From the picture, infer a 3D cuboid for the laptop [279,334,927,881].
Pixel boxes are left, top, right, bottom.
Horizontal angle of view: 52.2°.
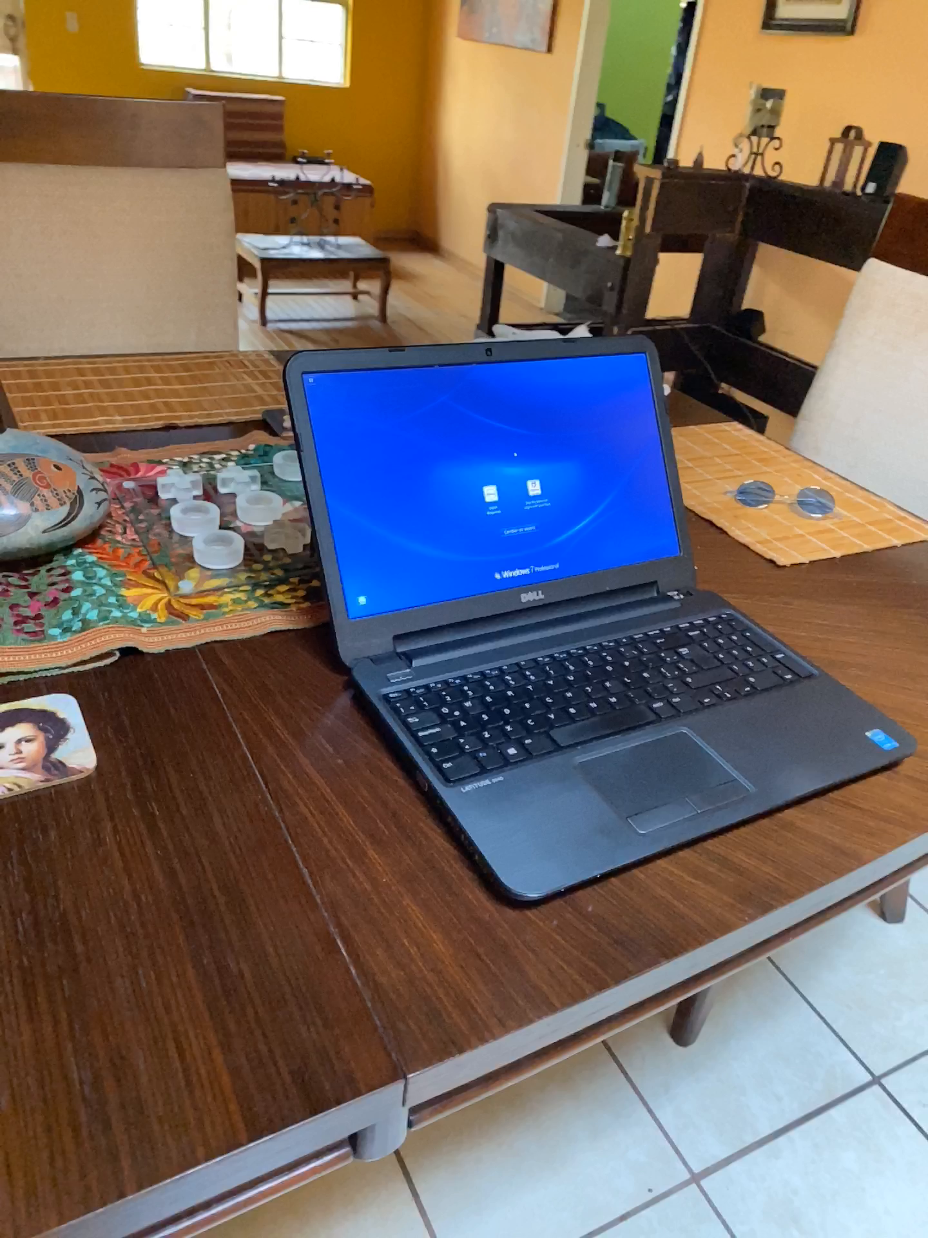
[{"bbox_3d":[0.102,-0.061,0.741,0.368,0.194,0.396,-12,37,-29],"label":"laptop"}]
